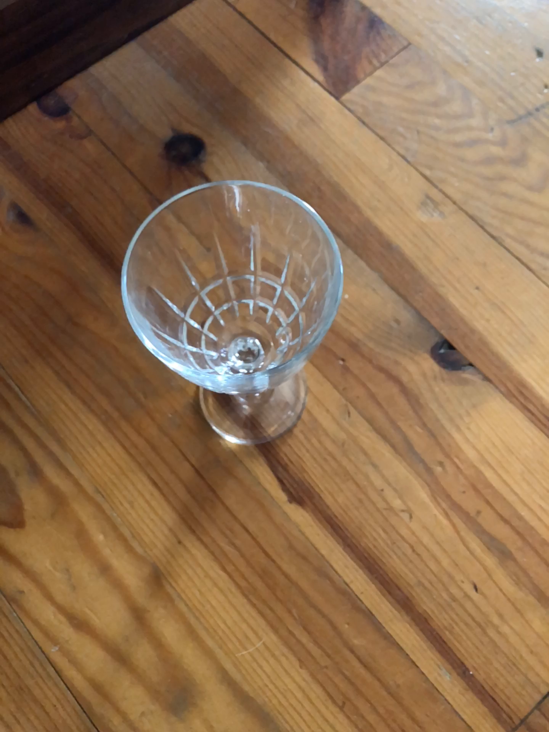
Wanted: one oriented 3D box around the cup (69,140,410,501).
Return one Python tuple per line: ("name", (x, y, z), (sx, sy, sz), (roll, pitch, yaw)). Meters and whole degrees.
("cup", (-0.013, -0.006, 0.277), (0.085, 0.141, 0.084), (0, 71, 0))
